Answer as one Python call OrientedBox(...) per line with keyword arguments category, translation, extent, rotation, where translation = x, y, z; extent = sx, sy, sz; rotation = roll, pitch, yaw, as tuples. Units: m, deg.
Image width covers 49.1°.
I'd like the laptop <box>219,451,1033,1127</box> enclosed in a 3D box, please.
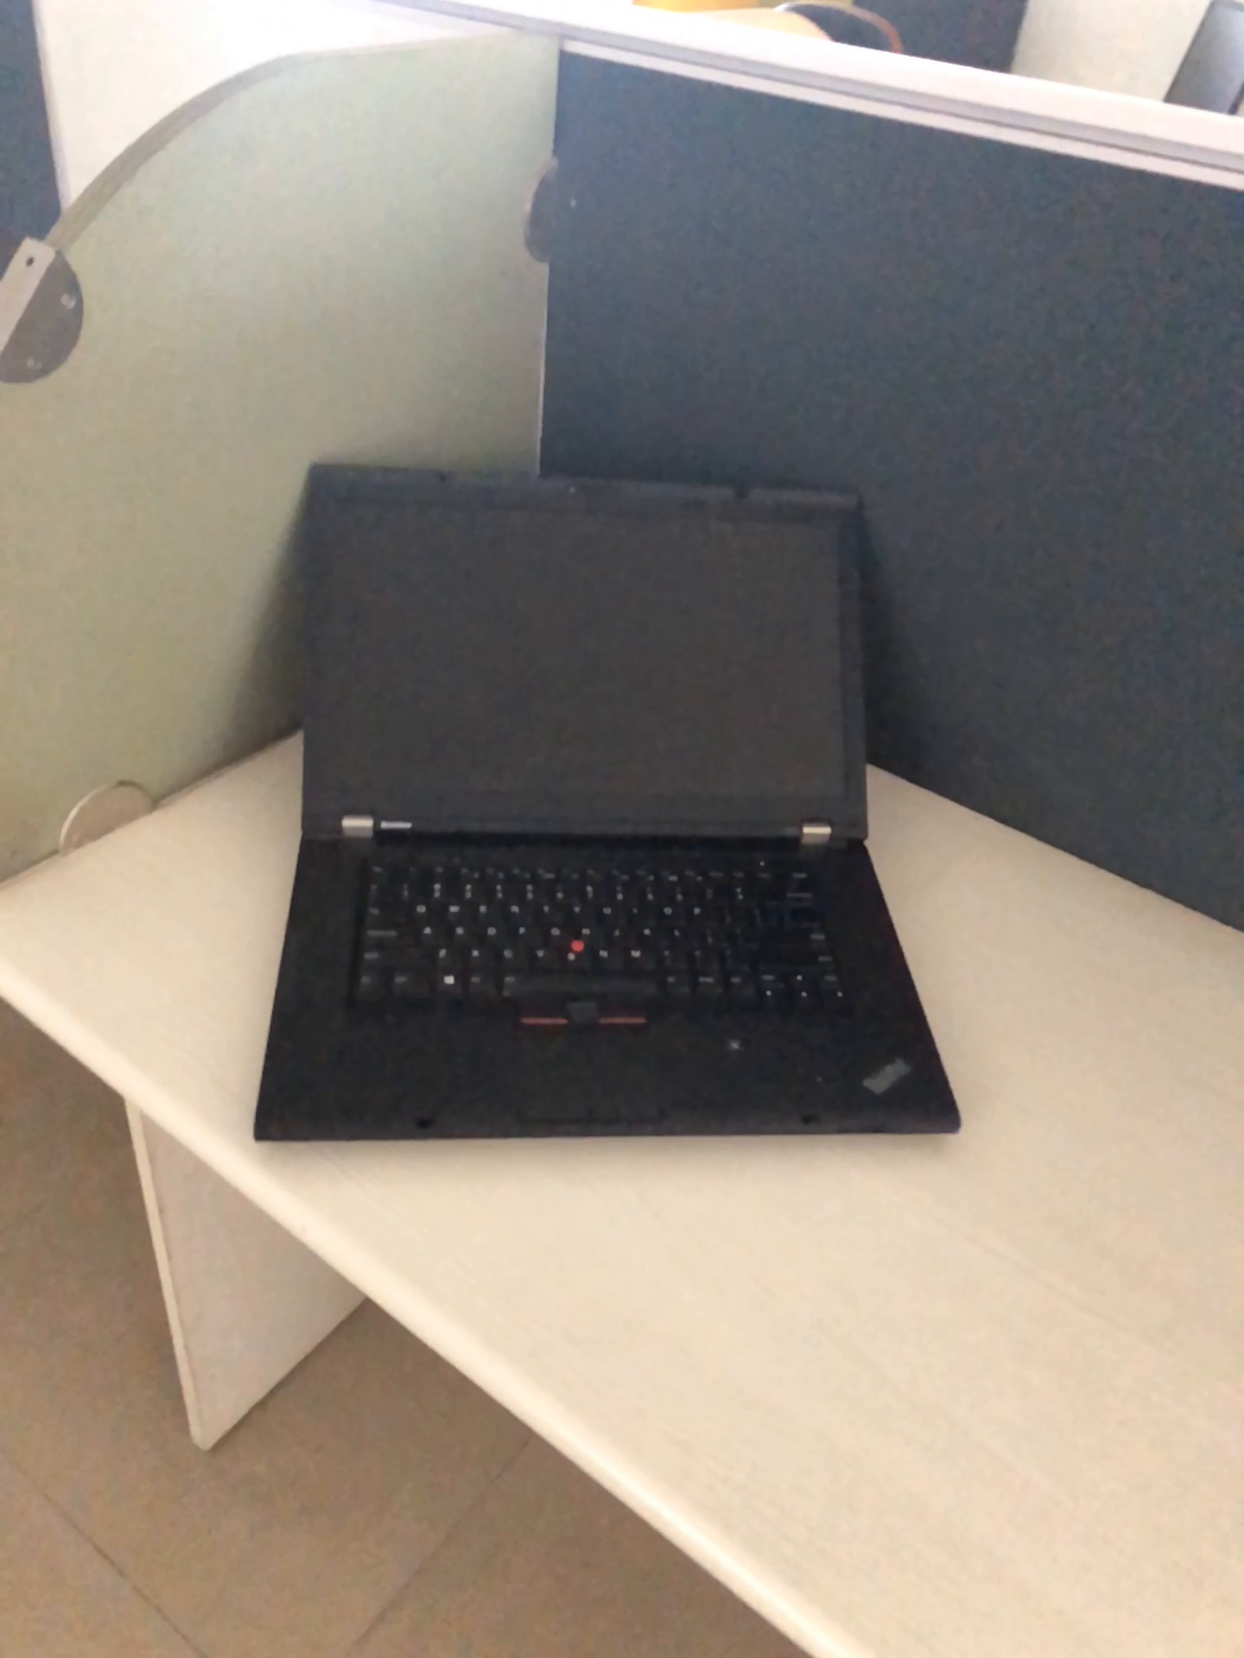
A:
OrientedBox(category="laptop", translation=(-0.013, -0.048, 0.796), extent=(0.355, 0.167, 0.407), rotation=(1, 39, -6))
